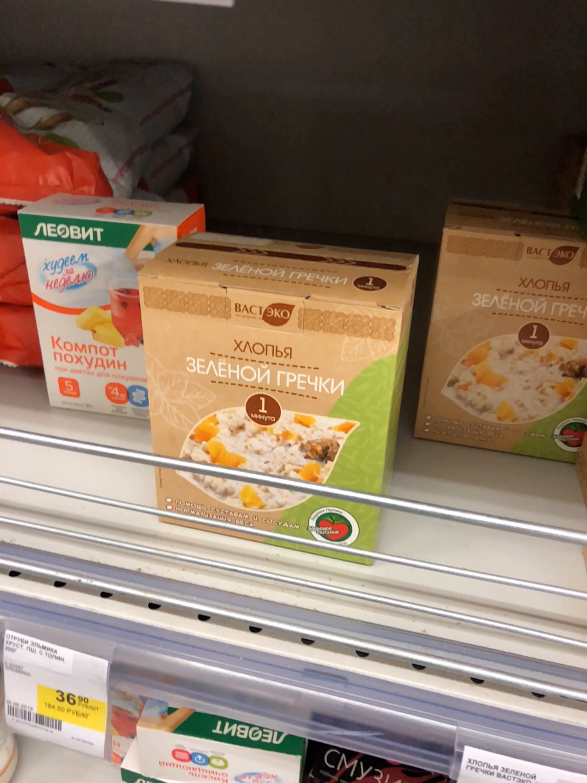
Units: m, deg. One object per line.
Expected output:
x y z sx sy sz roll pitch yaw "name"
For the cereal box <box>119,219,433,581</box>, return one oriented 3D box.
-0.005 0.000 0.349 0.130 0.149 0.090 9 31 12 "cereal box"
